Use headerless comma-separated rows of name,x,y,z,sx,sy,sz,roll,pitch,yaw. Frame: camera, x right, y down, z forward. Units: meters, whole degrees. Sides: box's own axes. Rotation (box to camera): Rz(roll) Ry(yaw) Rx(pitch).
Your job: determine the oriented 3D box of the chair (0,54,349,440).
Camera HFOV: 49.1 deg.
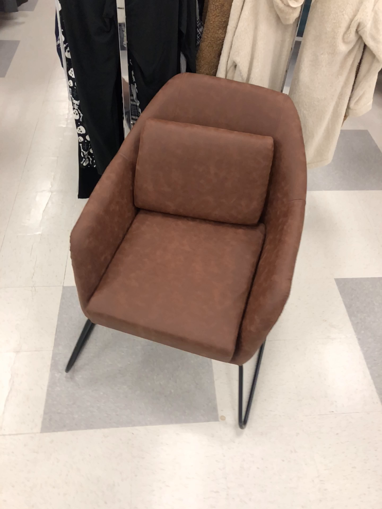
chair,-0.008,-0.016,1.394,0.734,0.849,0.763,15,50,9
